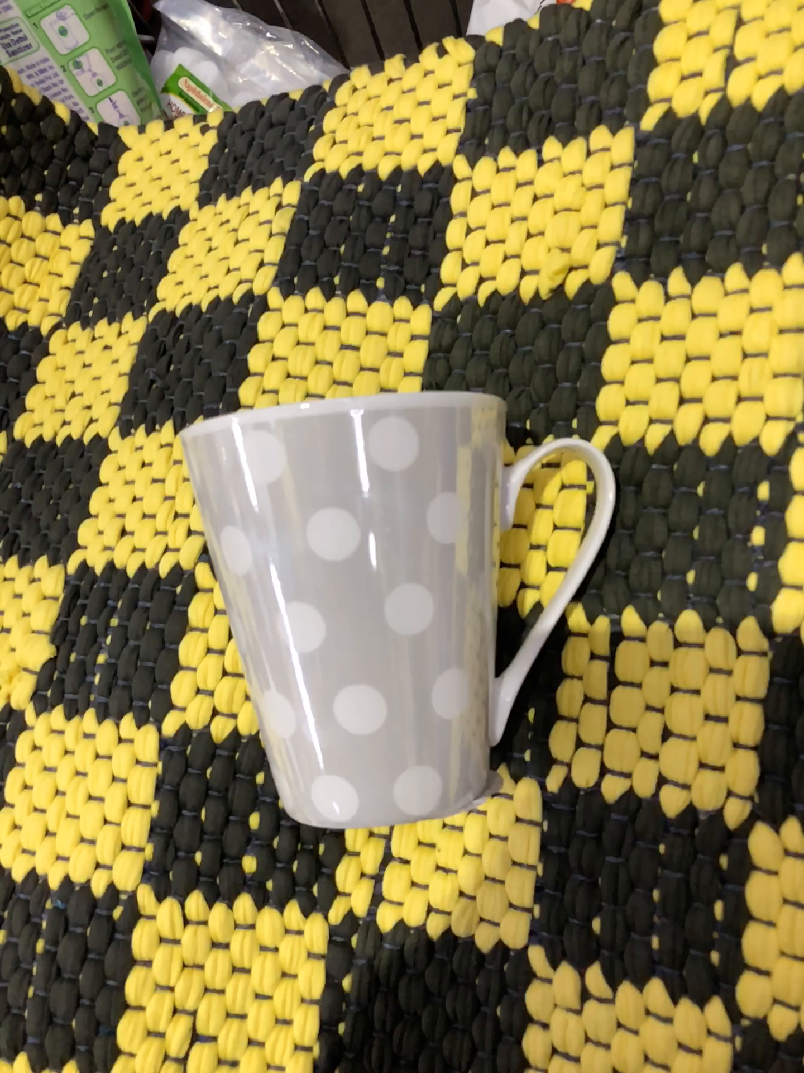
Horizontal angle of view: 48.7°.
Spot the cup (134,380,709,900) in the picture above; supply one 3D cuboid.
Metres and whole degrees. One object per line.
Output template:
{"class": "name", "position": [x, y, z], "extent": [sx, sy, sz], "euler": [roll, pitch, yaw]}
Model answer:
{"class": "cup", "position": [0.000, 0.018, 0.240], "extent": [0.120, 0.090, 0.100], "euler": [-6, 90, -23]}
